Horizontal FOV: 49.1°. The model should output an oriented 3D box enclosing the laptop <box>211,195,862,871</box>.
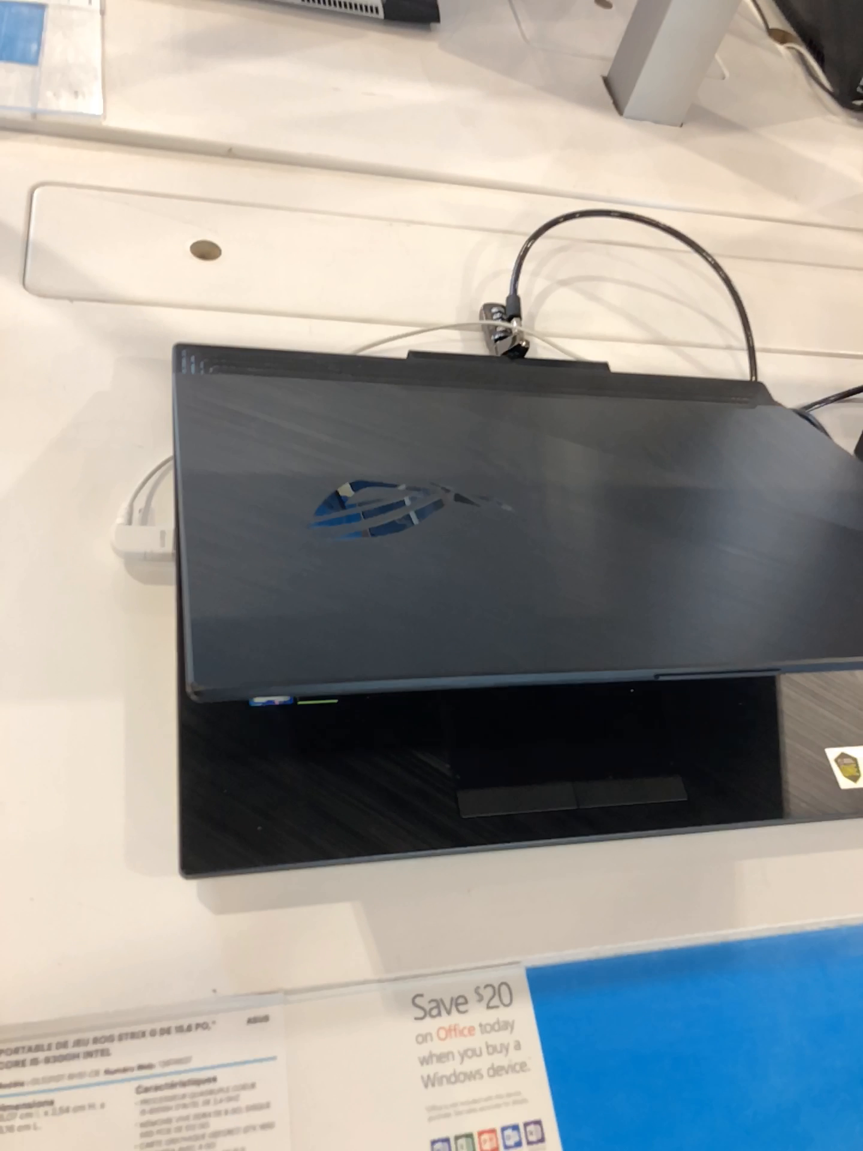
[{"bbox_3d":[0.075,-0.031,0.422,0.331,0.097,0.263,0,57,-15],"label":"laptop"}]
